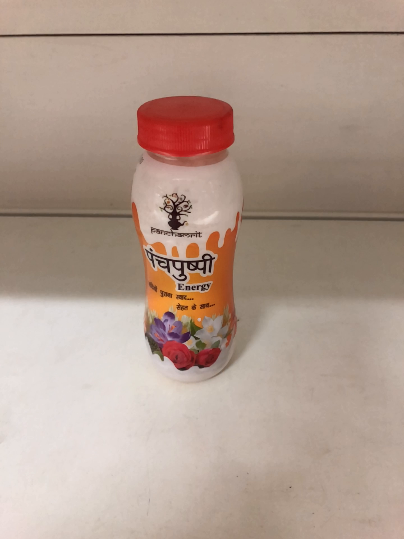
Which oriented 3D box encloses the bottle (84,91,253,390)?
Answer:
[{"bbox_3d":[-0.008,-0.012,0.219,0.060,0.129,0.060,-1,31,1],"label":"bottle"}]
